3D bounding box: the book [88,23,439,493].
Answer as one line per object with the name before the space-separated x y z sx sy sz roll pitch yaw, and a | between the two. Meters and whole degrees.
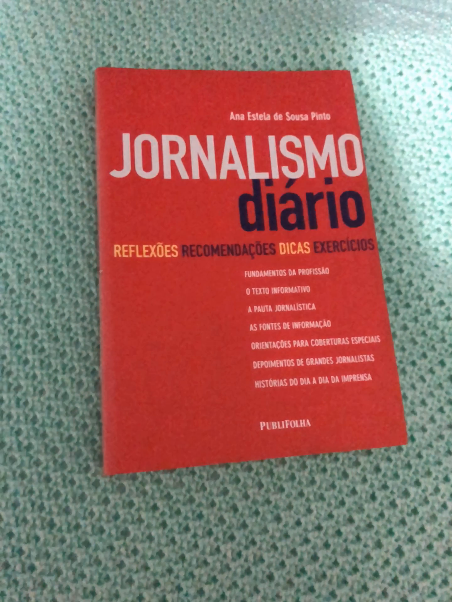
book | 0.011 -0.037 0.278 0.160 0.030 0.250 -4 76 -6
